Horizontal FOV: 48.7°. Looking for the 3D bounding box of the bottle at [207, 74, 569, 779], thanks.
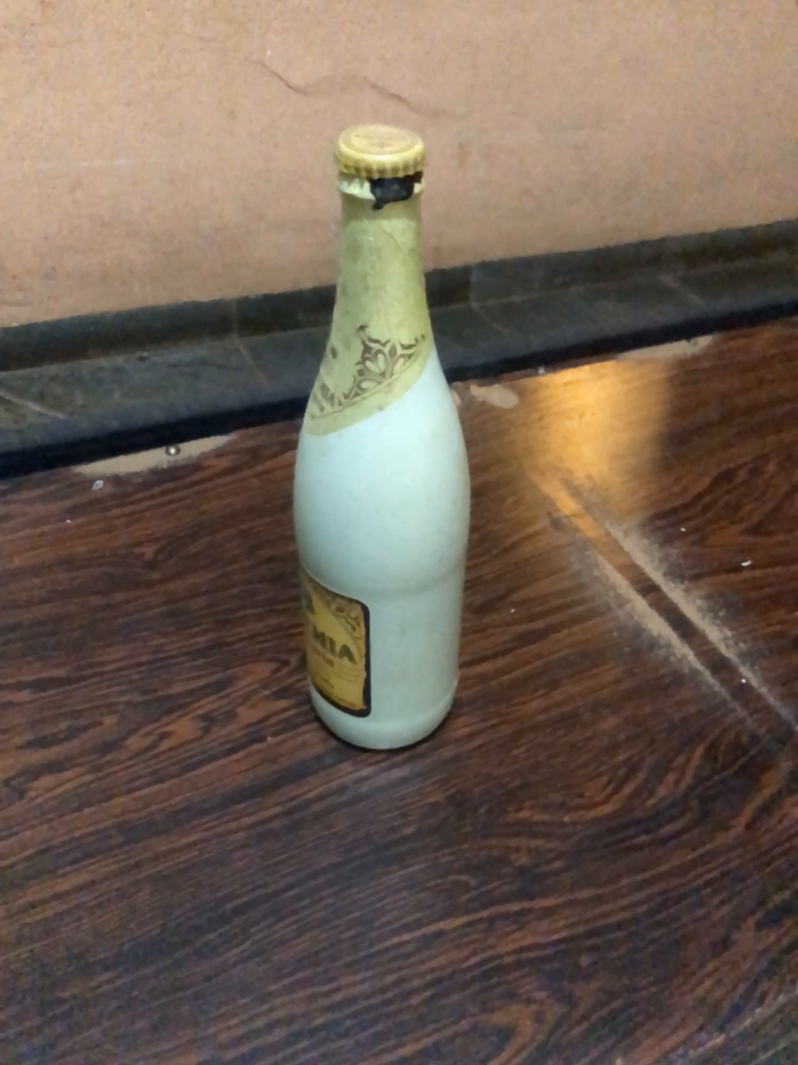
[{"bbox_3d":[-0.013,-0.023,0.329,0.080,0.248,0.081,2,41,-2],"label":"bottle"}]
